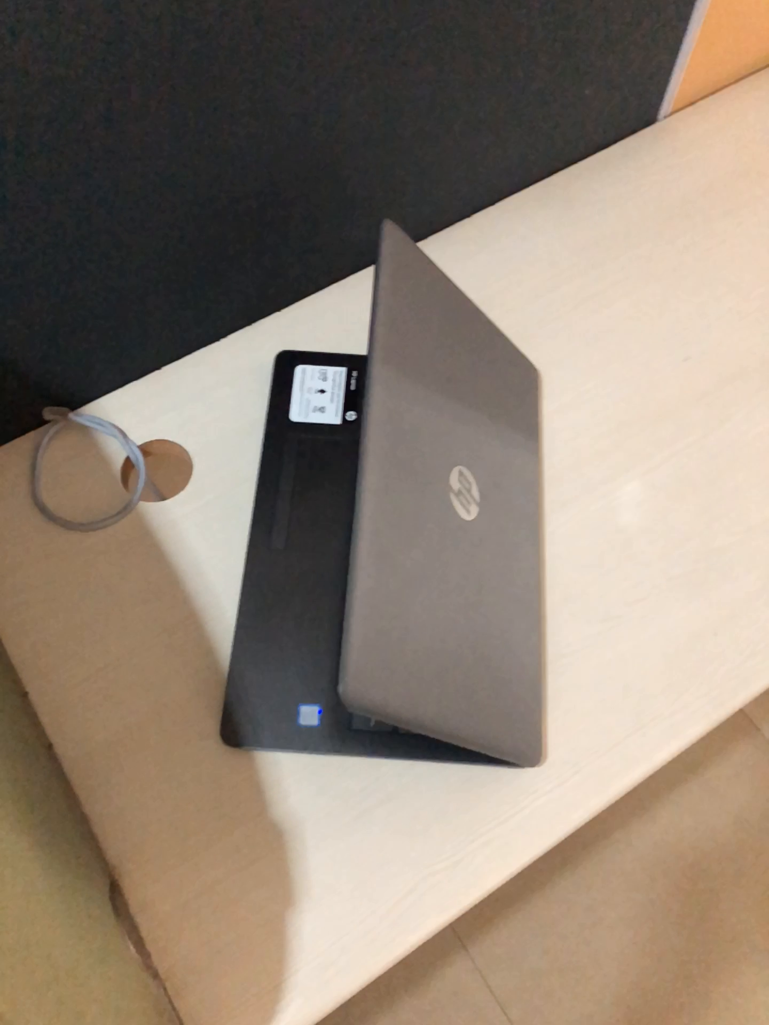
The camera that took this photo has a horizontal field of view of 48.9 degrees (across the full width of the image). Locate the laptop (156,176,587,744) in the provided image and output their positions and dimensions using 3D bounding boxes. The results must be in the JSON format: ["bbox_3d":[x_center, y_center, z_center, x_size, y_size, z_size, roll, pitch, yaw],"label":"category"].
[{"bbox_3d":[0.003,-0.032,0.648,0.246,0.204,0.362,4,66,-1],"label":"laptop"}]
